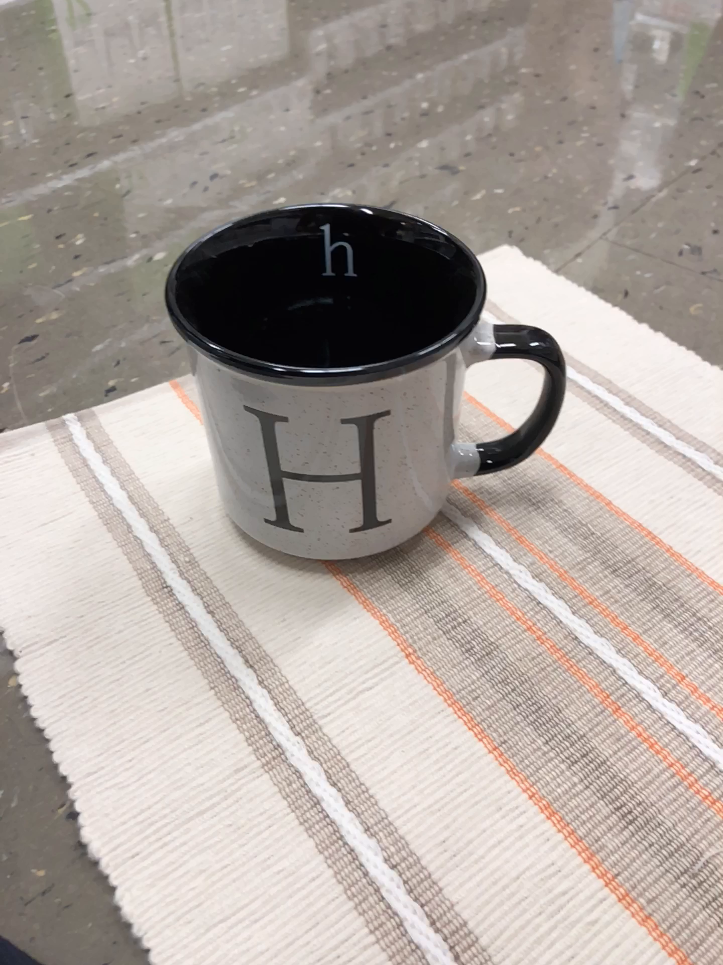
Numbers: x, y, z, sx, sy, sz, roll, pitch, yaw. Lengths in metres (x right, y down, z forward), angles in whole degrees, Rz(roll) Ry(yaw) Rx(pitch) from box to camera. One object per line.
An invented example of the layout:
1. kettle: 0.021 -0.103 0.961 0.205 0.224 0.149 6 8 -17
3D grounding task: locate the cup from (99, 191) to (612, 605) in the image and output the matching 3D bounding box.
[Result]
1. cup: 0.002 -0.032 0.290 0.140 0.100 0.100 3 44 5
